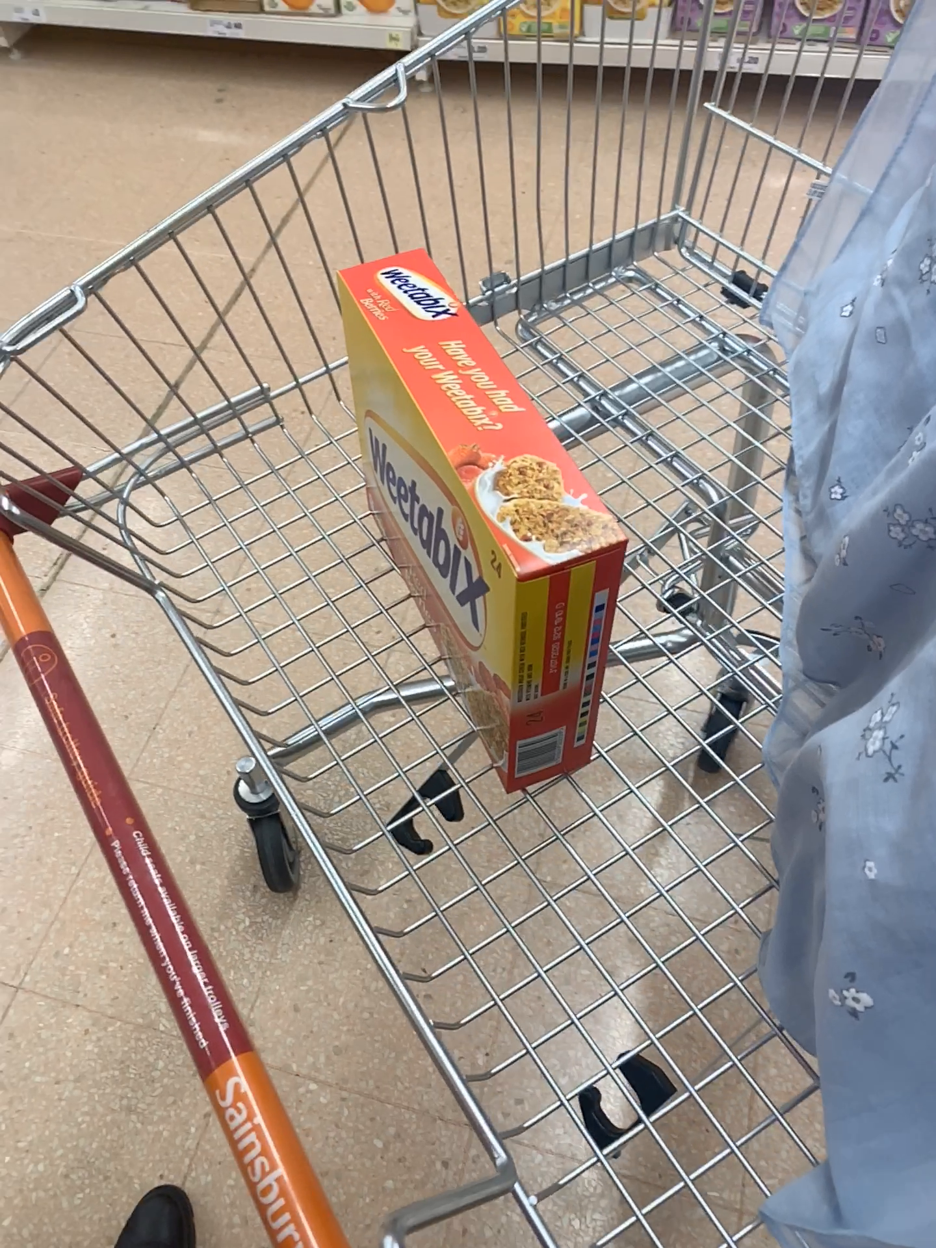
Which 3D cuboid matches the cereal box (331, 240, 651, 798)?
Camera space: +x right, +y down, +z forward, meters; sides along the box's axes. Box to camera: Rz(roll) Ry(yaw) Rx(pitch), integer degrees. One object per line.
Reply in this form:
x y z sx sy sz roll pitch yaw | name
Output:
0.001 -0.062 0.552 0.060 0.189 0.262 -19 55 -13 | cereal box
